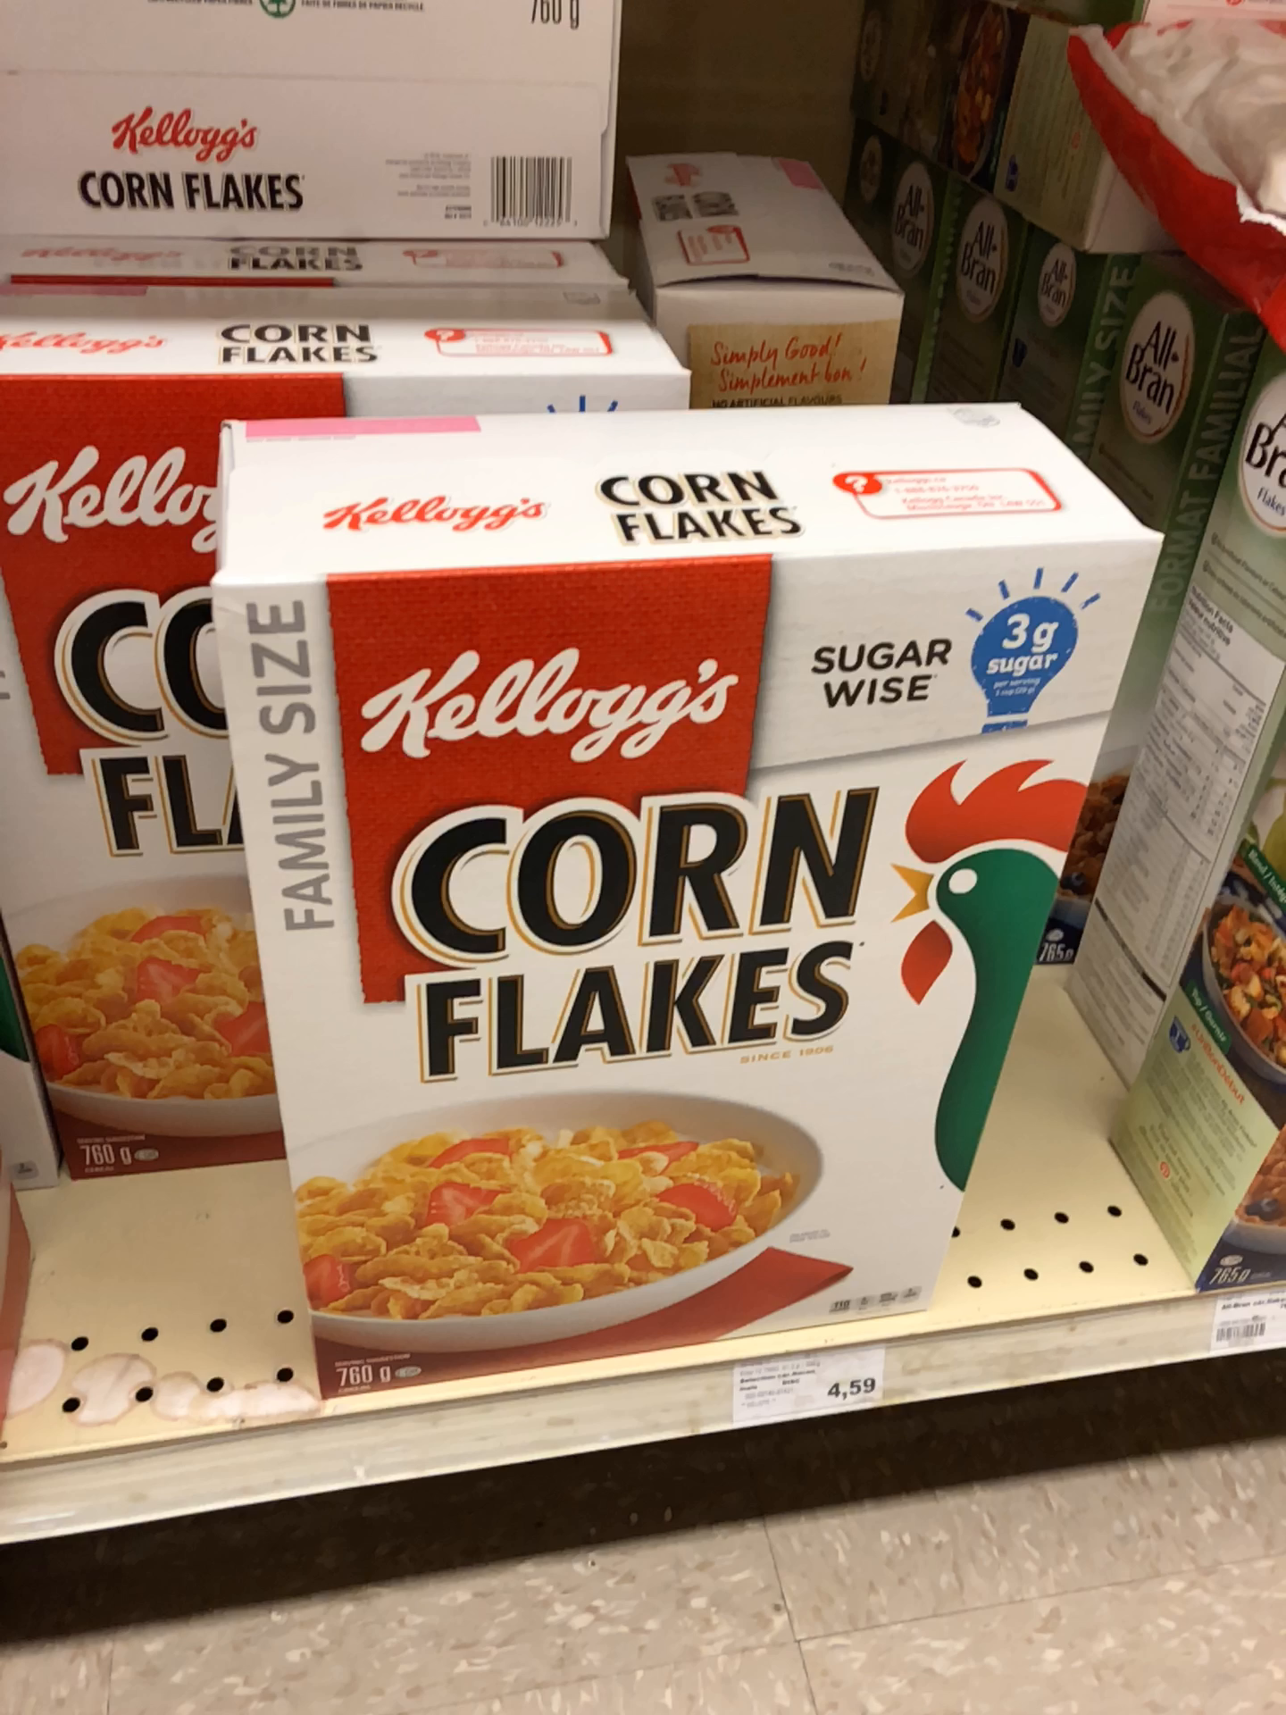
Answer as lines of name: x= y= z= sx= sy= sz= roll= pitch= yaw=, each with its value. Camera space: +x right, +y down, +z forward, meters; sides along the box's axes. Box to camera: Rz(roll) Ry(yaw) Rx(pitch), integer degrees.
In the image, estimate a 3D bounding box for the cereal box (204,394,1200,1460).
cereal box: x=0.003 y=0.042 z=0.522 sx=0.270 sy=0.387 sz=0.101 roll=-6 pitch=37 yaw=-13
